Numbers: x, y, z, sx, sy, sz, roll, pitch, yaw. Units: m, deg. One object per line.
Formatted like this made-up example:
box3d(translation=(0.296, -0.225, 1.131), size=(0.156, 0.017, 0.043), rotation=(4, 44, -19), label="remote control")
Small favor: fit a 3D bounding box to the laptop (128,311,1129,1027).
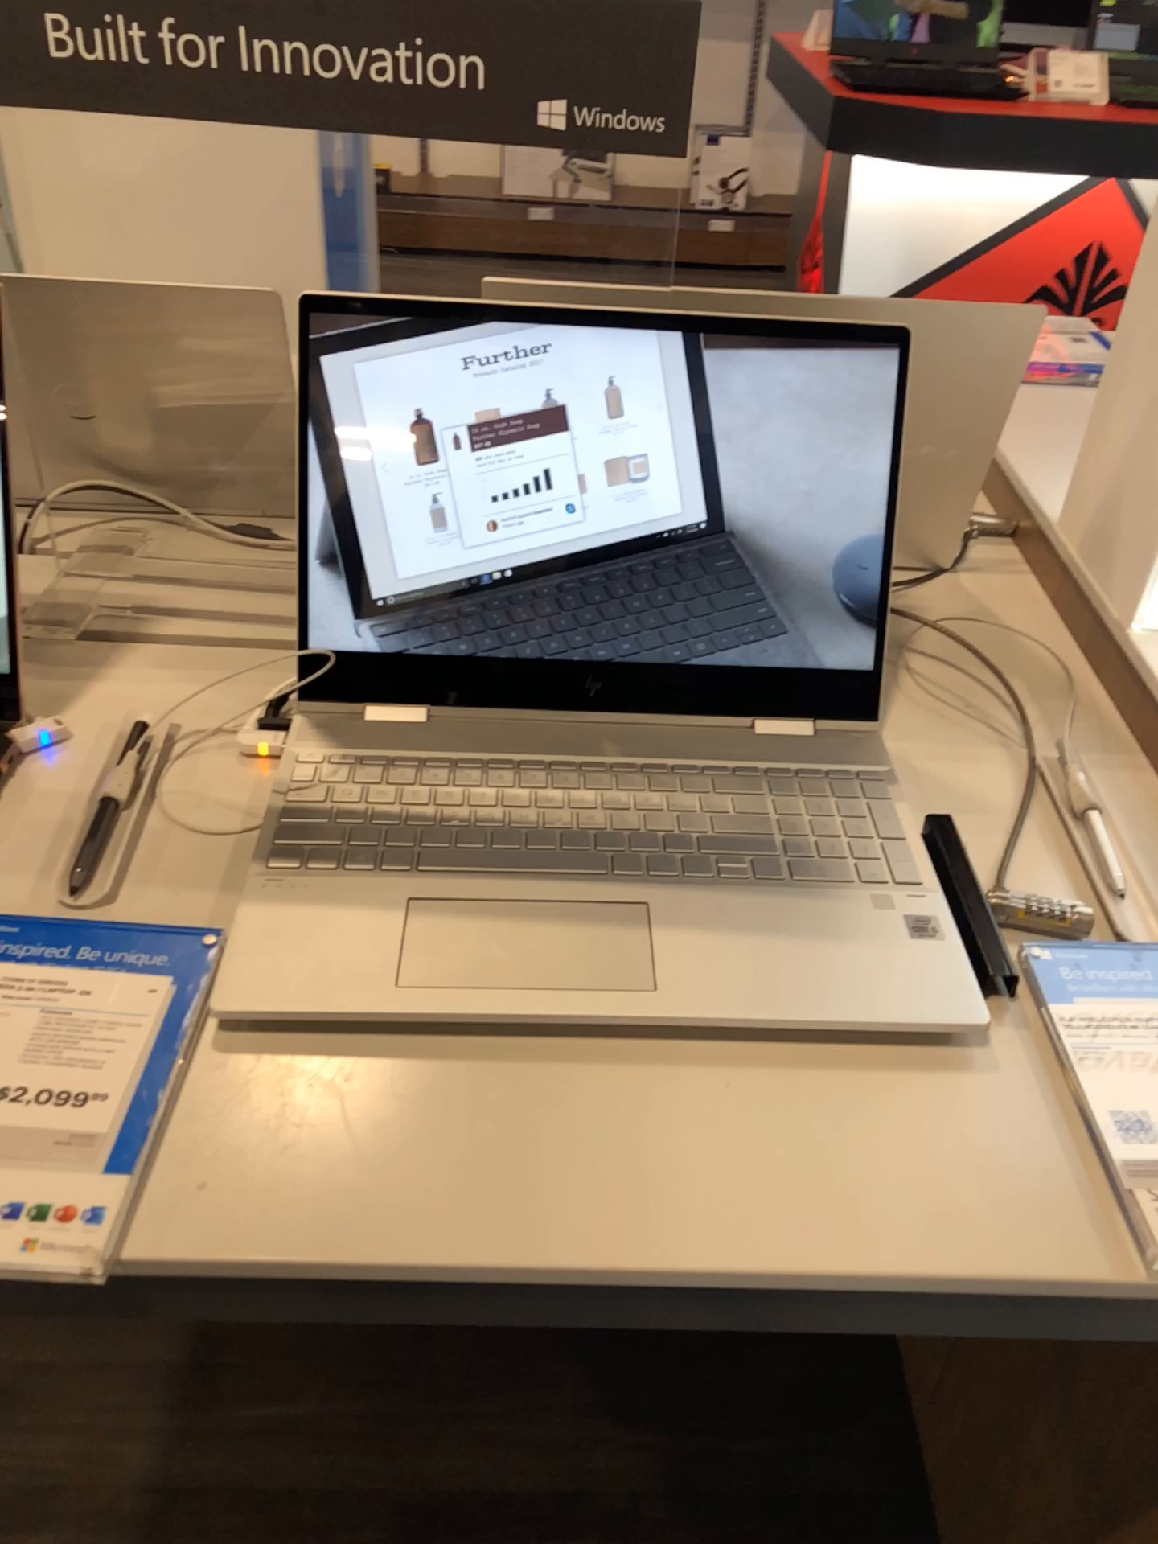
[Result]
box3d(translation=(0.013, -0.075, 0.658), size=(0.358, 0.210, 0.355), rotation=(2, 36, -3), label="laptop")
